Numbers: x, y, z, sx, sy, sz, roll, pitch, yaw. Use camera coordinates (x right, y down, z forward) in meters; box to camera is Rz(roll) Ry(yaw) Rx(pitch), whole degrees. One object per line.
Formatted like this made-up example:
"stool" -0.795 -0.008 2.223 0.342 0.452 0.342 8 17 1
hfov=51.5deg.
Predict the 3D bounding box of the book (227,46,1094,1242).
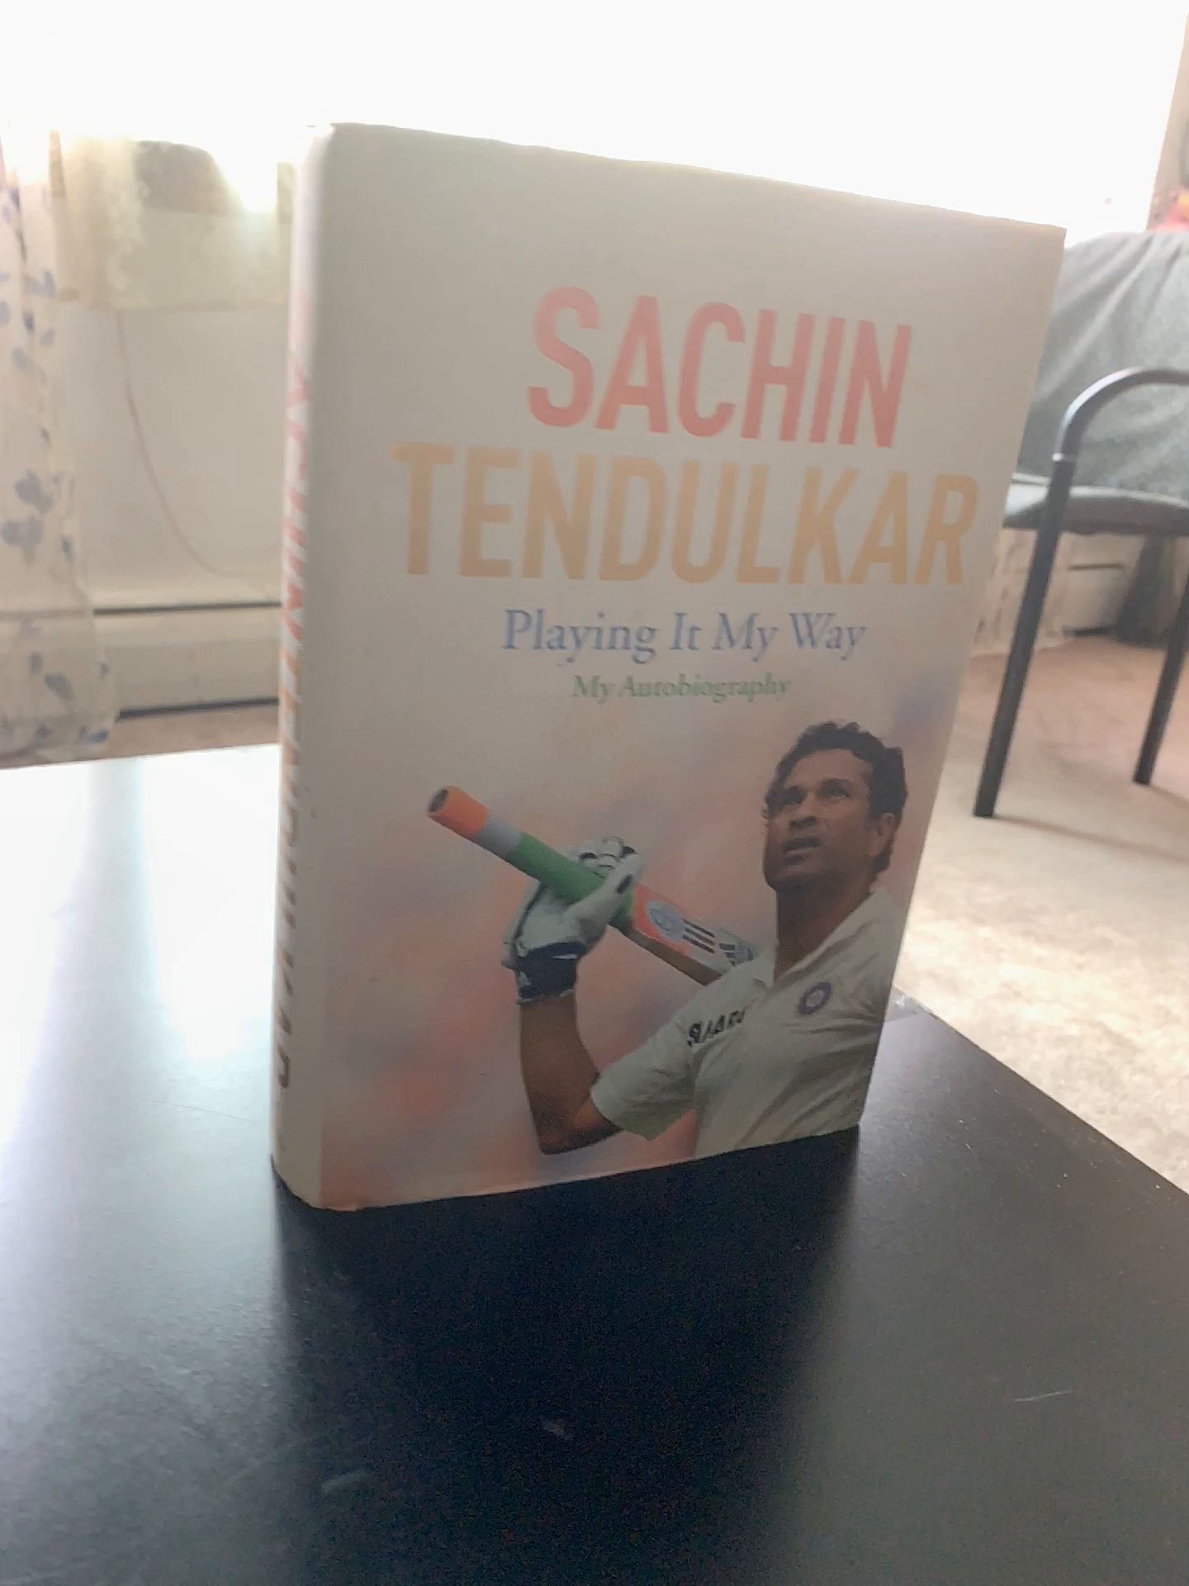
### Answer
"book" 0.005 -0.025 0.297 0.170 0.238 0.060 -3 23 -22
